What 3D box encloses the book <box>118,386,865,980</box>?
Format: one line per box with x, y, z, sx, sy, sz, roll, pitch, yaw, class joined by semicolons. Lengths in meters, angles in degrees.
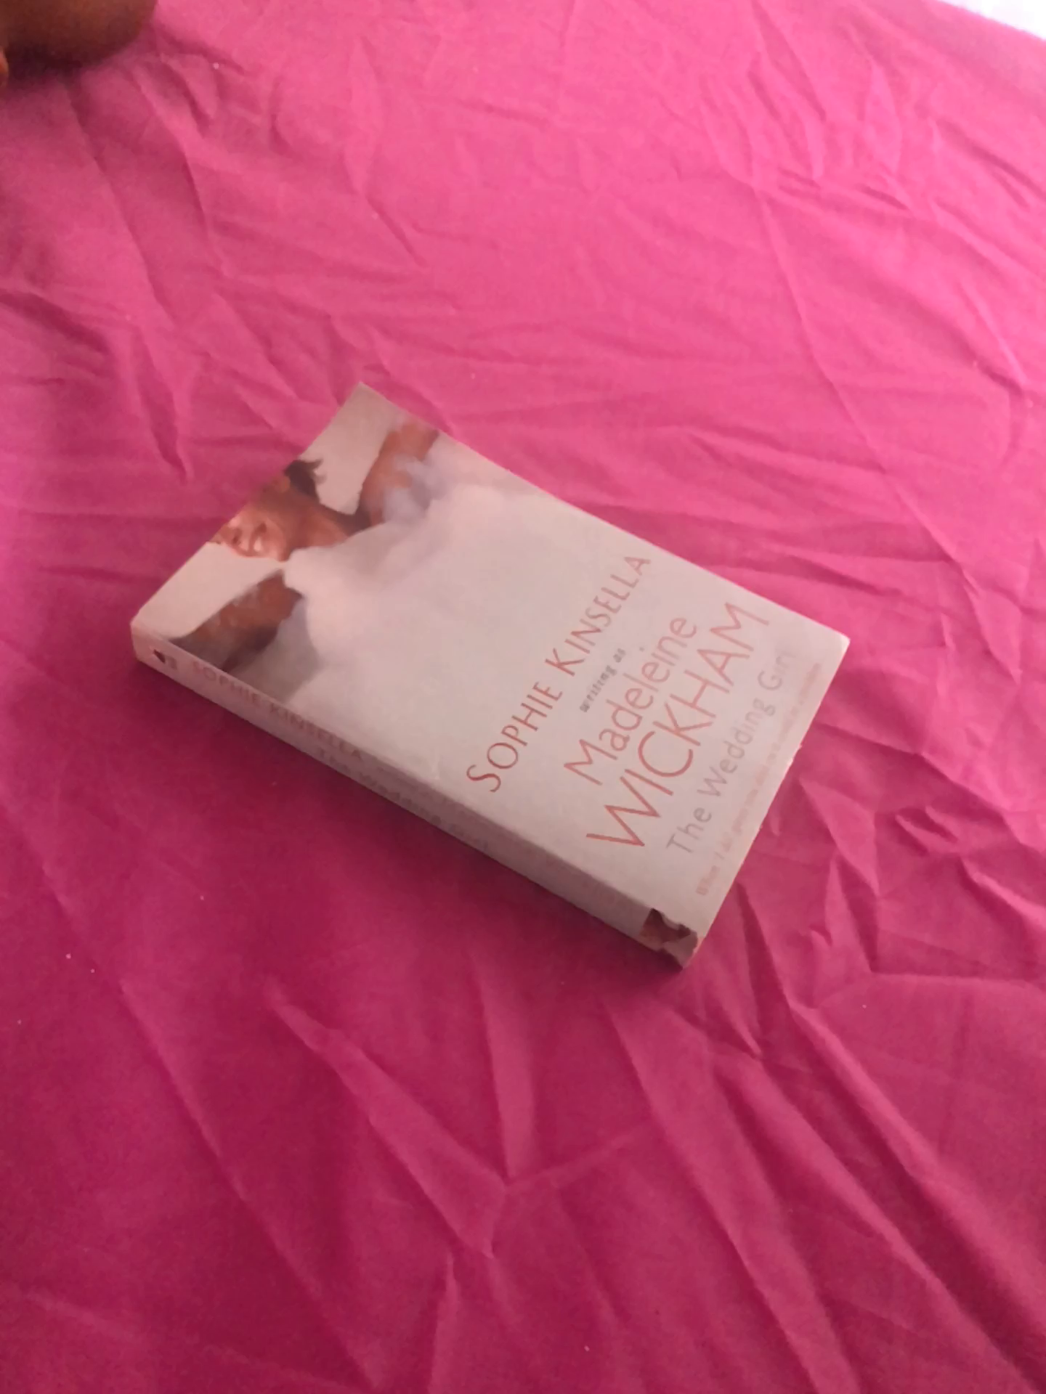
-0.006;-0.017;0.383;0.201;0.027;0.135;28;54;12;book
